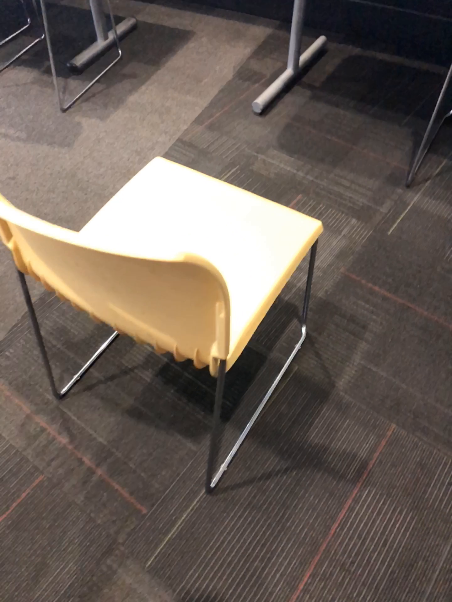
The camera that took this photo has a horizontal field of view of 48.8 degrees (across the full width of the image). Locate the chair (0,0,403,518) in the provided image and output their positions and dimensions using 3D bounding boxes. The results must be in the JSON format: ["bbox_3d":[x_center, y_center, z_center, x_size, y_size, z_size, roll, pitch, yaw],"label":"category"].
[{"bbox_3d":[-0.130,-0.090,0.970,0.571,0.737,0.561,27,57,20],"label":"chair"}]
